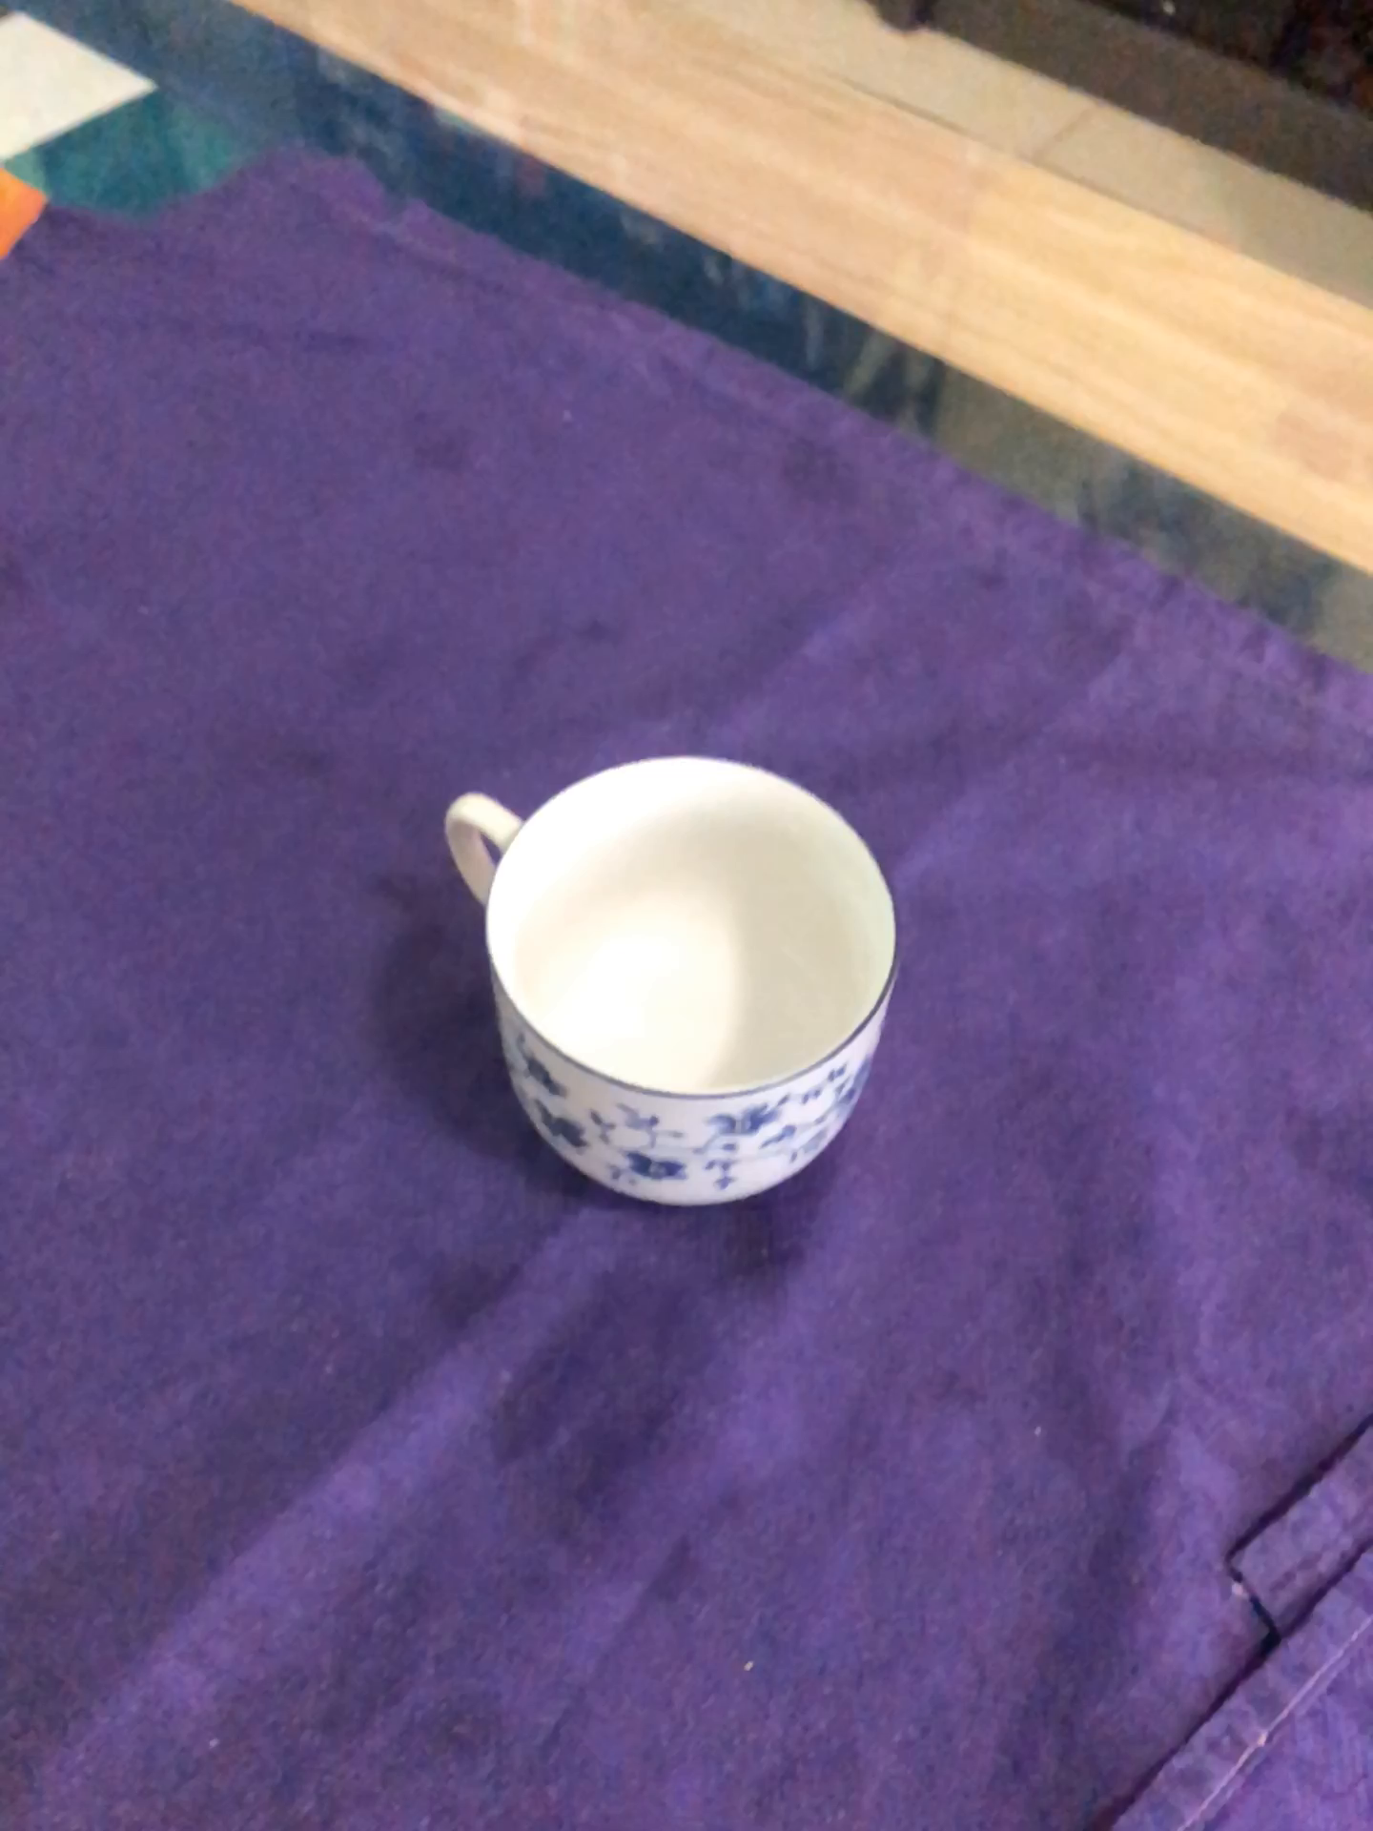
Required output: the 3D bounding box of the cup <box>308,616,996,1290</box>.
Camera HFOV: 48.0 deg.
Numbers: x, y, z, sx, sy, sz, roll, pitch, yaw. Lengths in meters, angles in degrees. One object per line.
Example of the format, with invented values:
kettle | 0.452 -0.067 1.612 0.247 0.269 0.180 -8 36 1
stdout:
cup | -0.007 0.005 0.298 0.100 0.060 0.070 32 60 19
